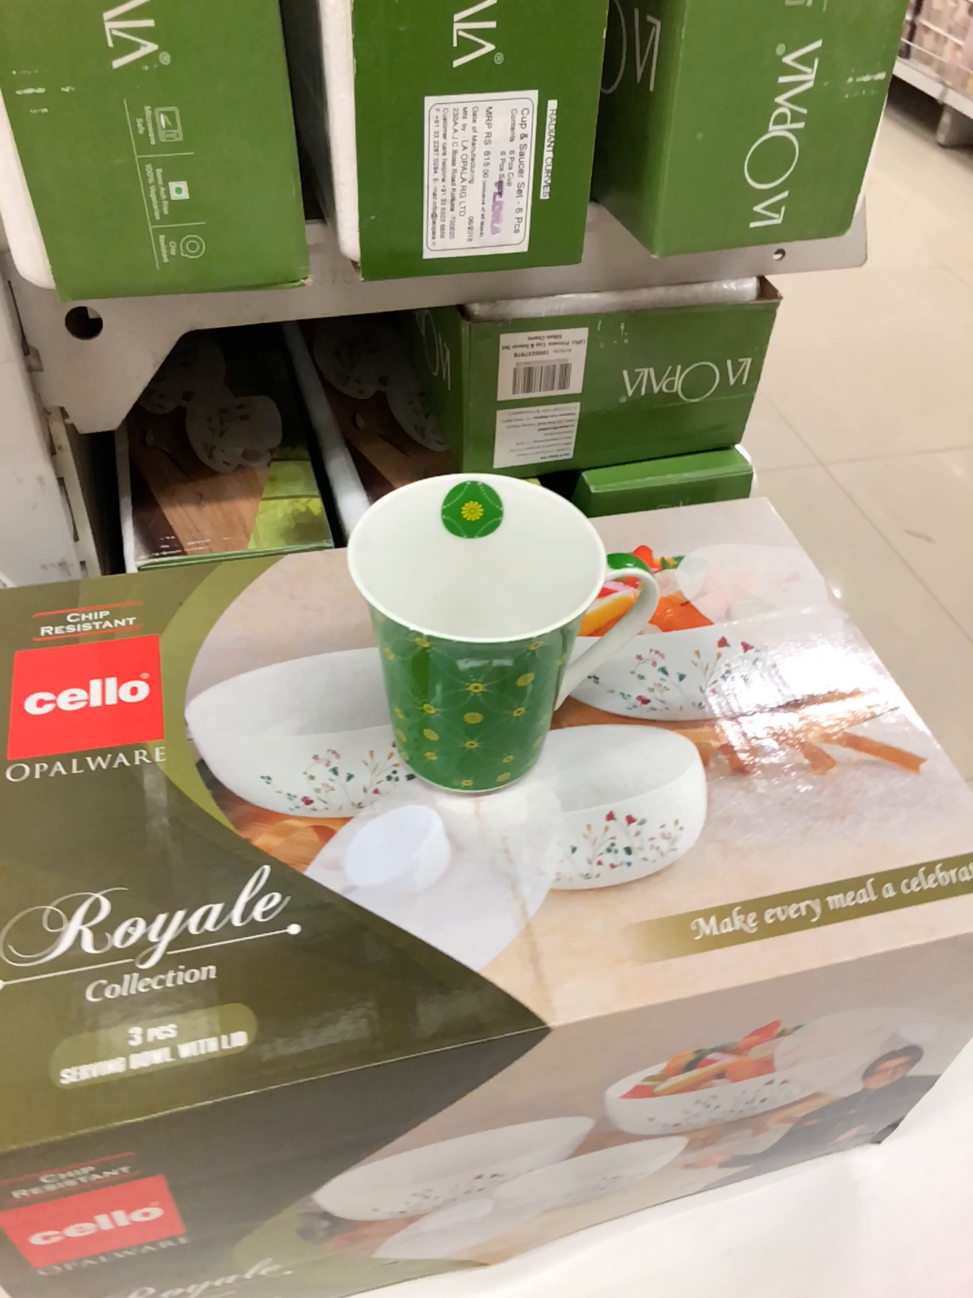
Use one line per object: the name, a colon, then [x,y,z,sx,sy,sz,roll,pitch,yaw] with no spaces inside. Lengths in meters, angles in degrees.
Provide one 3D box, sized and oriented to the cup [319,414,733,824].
cup: [0.007,-0.013,0.369,0.110,0.089,0.091,-8,44,-12]
